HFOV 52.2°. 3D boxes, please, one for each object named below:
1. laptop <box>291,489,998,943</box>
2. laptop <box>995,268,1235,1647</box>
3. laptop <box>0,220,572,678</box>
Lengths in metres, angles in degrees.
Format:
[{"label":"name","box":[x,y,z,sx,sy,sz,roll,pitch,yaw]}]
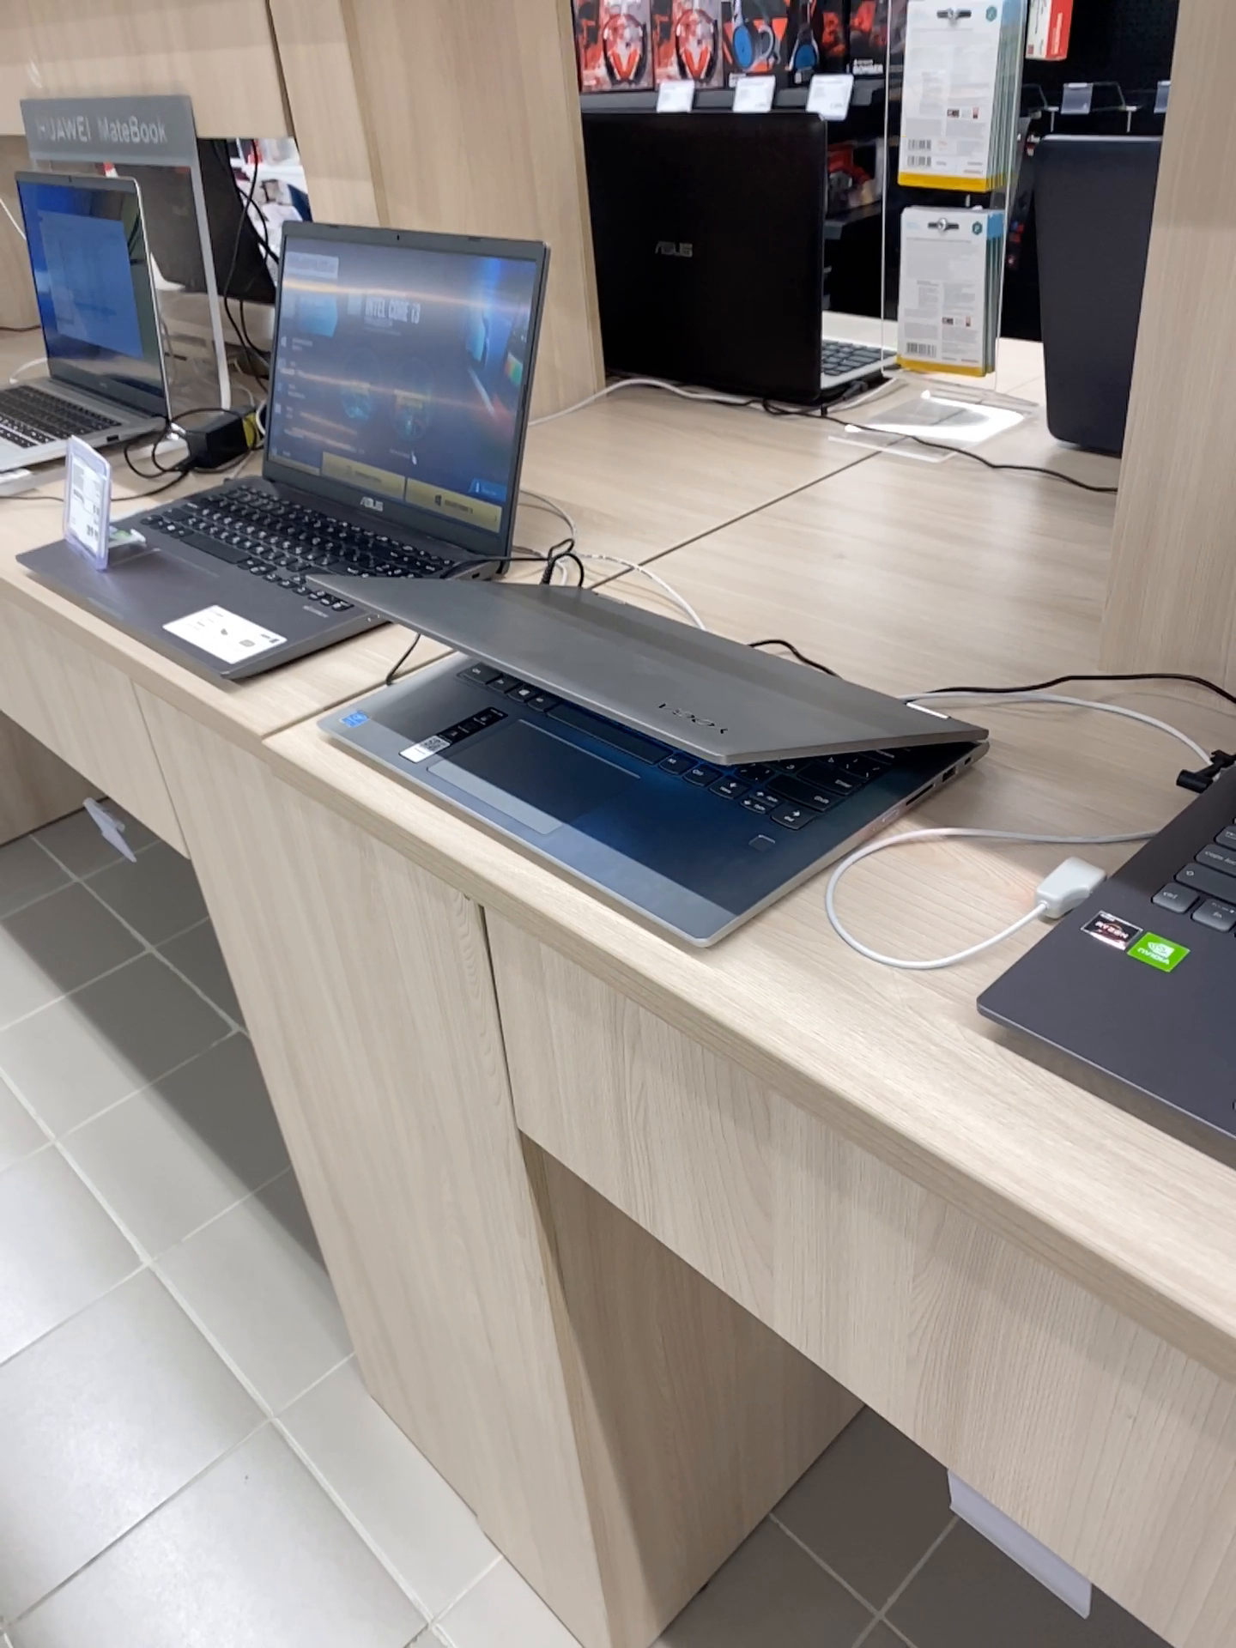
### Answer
[{"label":"laptop","box":[0.004,-0.086,0.702,0.218,0.082,0.327,-31,40,-32]},{"label":"laptop","box":[0.382,-0.019,0.410,0.391,0.215,0.303,25,44,38]},{"label":"laptop","box":[-0.277,-0.313,0.967,0.308,0.212,0.353,-30,40,-33]}]
